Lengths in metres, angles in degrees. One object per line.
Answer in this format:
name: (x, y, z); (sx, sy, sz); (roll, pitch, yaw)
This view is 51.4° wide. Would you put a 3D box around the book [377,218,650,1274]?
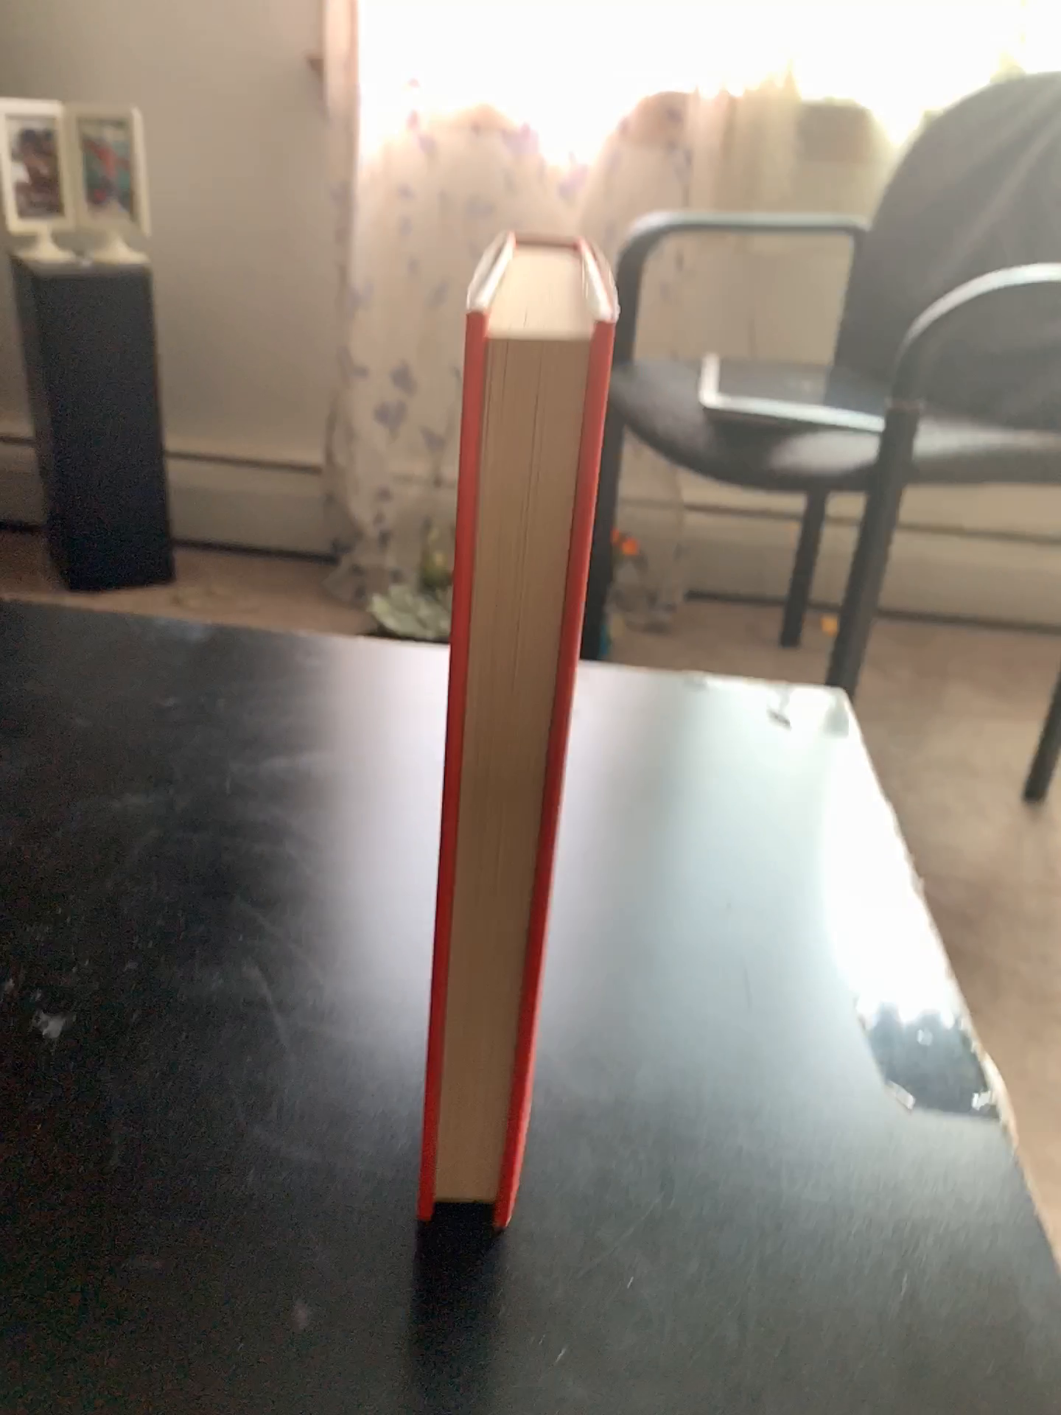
book: (-0.007, -0.001, 0.308); (0.040, 0.238, 0.171); (5, 26, 0)
